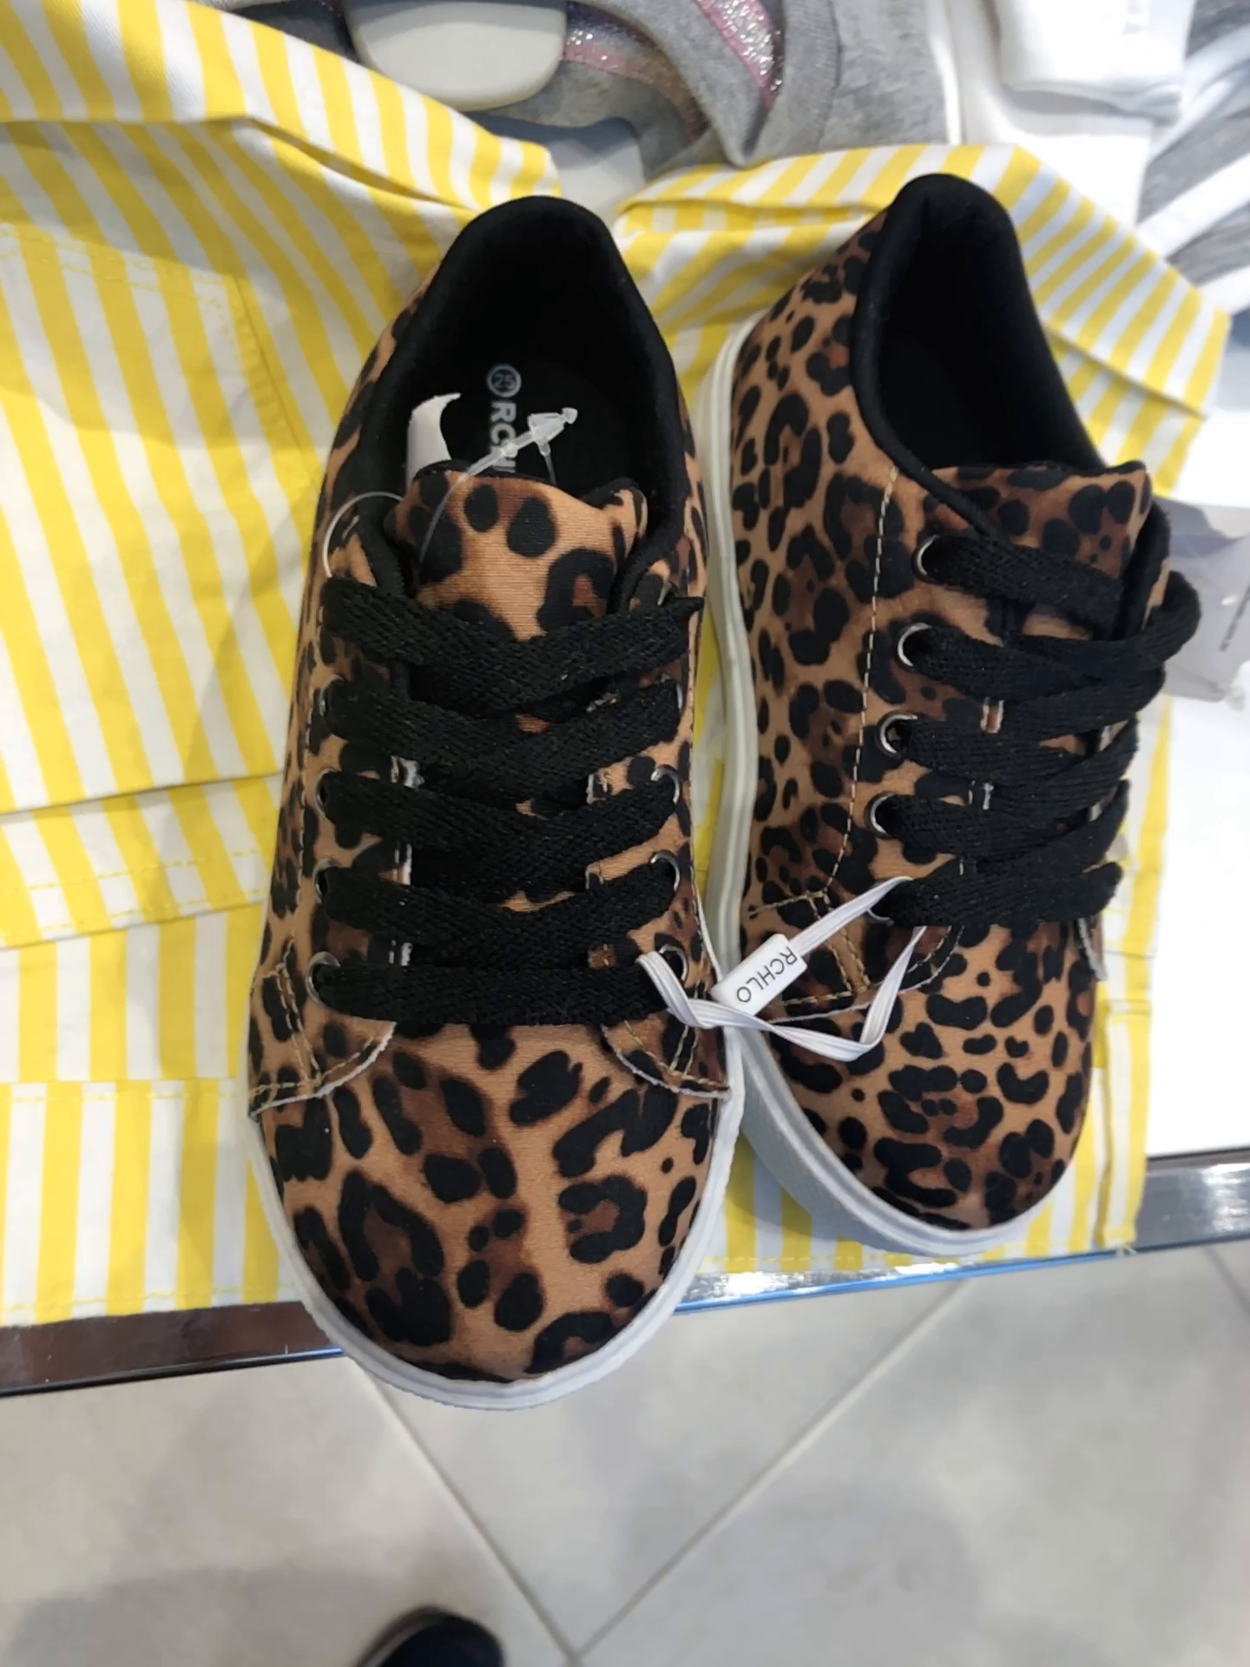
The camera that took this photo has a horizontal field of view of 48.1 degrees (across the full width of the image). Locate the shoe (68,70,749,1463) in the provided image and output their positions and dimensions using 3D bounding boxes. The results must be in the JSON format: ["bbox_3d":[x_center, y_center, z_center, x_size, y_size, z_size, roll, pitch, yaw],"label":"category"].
[{"bbox_3d":[-0.025,-0.009,0.203,0.080,0.060,0.170,-1,84,6],"label":"shoe"}]

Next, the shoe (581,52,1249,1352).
[{"bbox_3d":[0.045,-0.015,0.232,0.080,0.080,0.170,3,83,-21],"label":"shoe"}]
